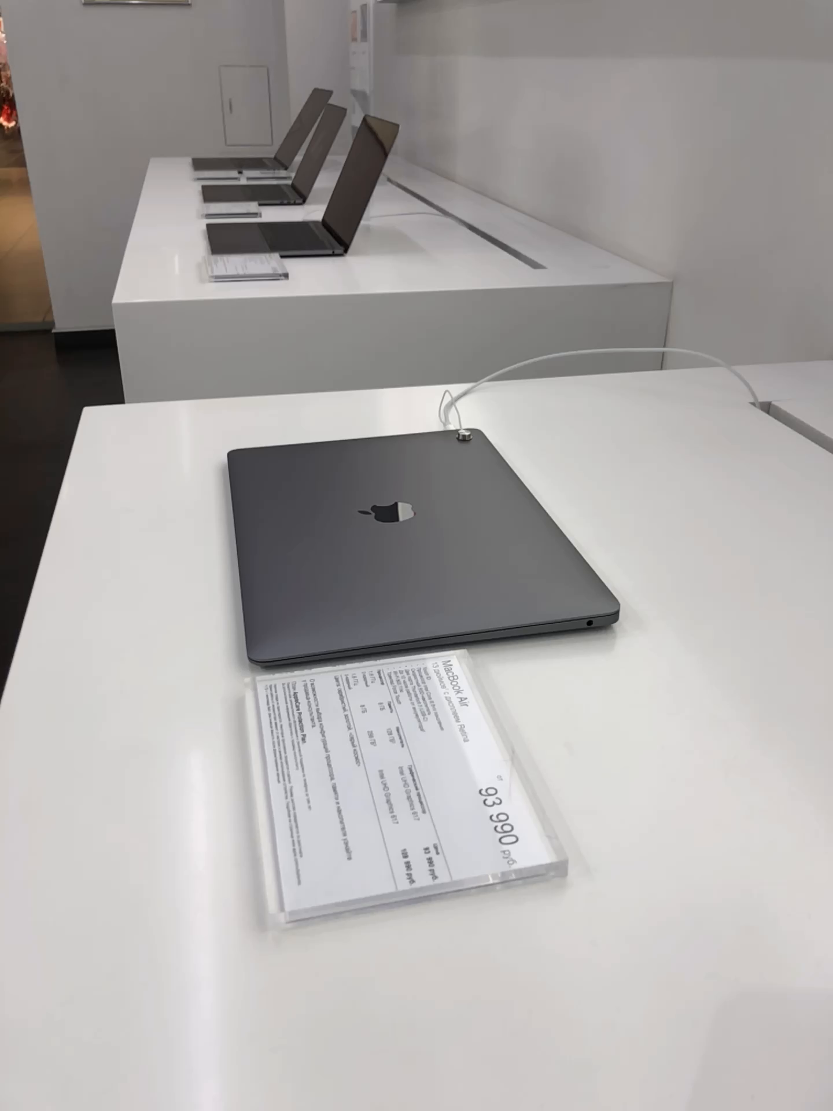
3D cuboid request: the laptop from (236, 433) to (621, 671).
[{"bbox_3d":[-0.015,-0.021,0.621,0.204,0.006,0.293,-7,28,-10],"label":"laptop"}]
